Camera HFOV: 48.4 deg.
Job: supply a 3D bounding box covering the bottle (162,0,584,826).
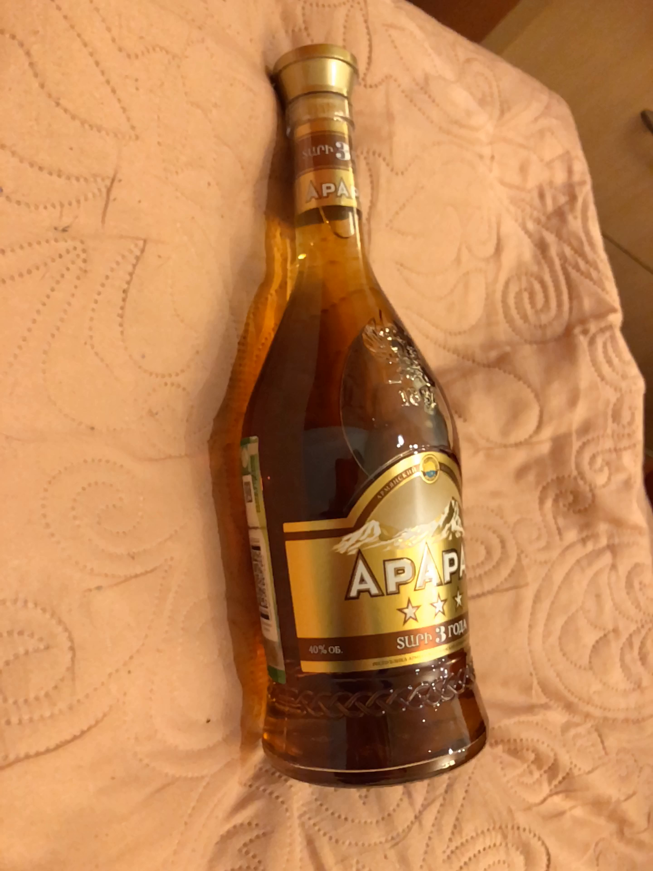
[{"bbox_3d":[0.010,-0.011,0.282,0.090,0.090,0.257,-5,83,-32],"label":"bottle"}]
